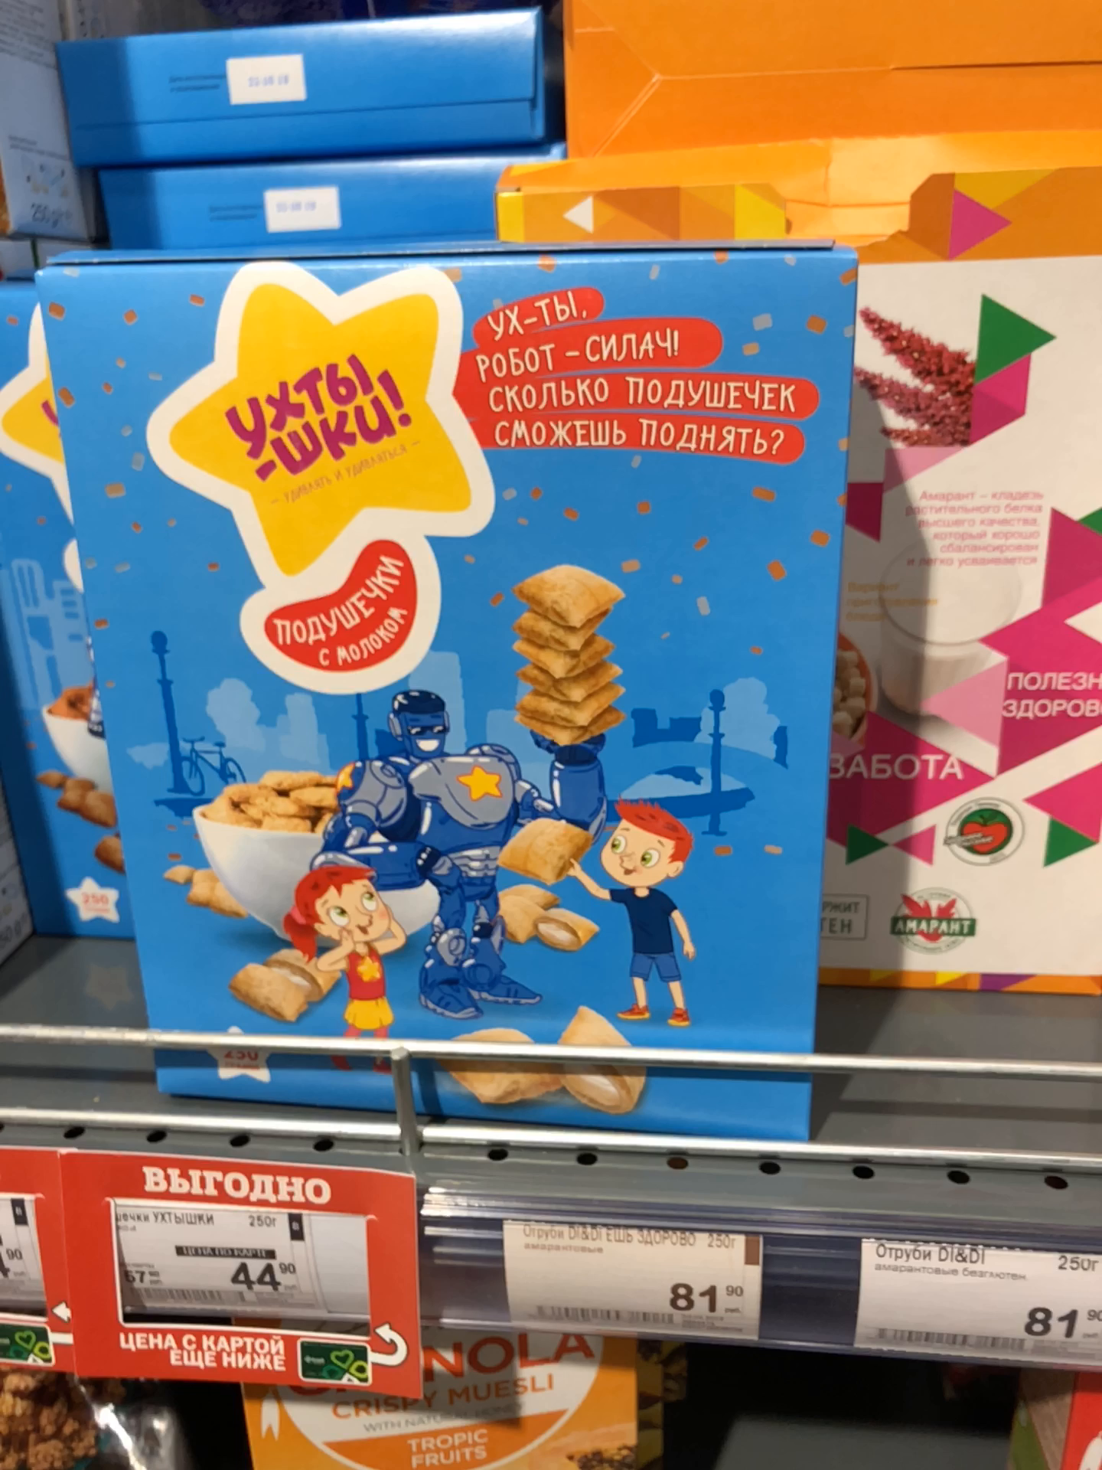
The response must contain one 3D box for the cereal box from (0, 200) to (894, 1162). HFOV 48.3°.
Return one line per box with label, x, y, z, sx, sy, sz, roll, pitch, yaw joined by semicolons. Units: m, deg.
cereal box;-0.021;-0.008;0.331;0.200;0.239;0.050;1;20;9
